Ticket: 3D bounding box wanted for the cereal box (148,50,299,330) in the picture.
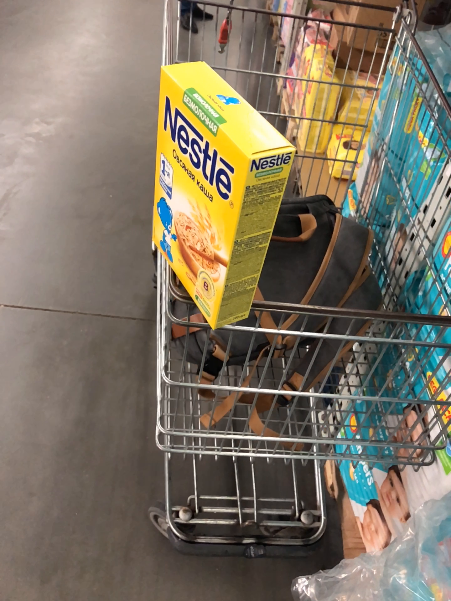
[{"bbox_3d":[-0.017,-0.095,0.458,0.040,0.199,0.151,-19,54,-26],"label":"cereal box"}]
